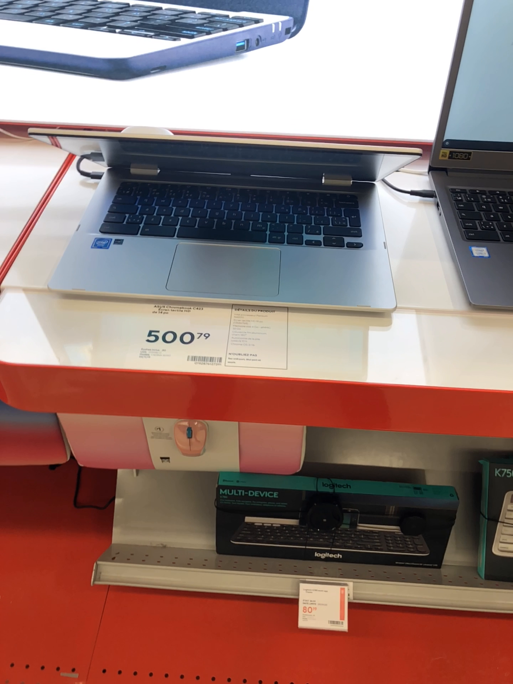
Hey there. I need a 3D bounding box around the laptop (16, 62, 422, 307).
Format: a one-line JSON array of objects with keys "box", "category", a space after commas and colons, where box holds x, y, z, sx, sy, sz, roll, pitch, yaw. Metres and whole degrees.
[{"box": [-0.024, -0.160, 0.548, 0.311, 0.119, 0.214, 4, 46, 1], "category": "laptop"}]
